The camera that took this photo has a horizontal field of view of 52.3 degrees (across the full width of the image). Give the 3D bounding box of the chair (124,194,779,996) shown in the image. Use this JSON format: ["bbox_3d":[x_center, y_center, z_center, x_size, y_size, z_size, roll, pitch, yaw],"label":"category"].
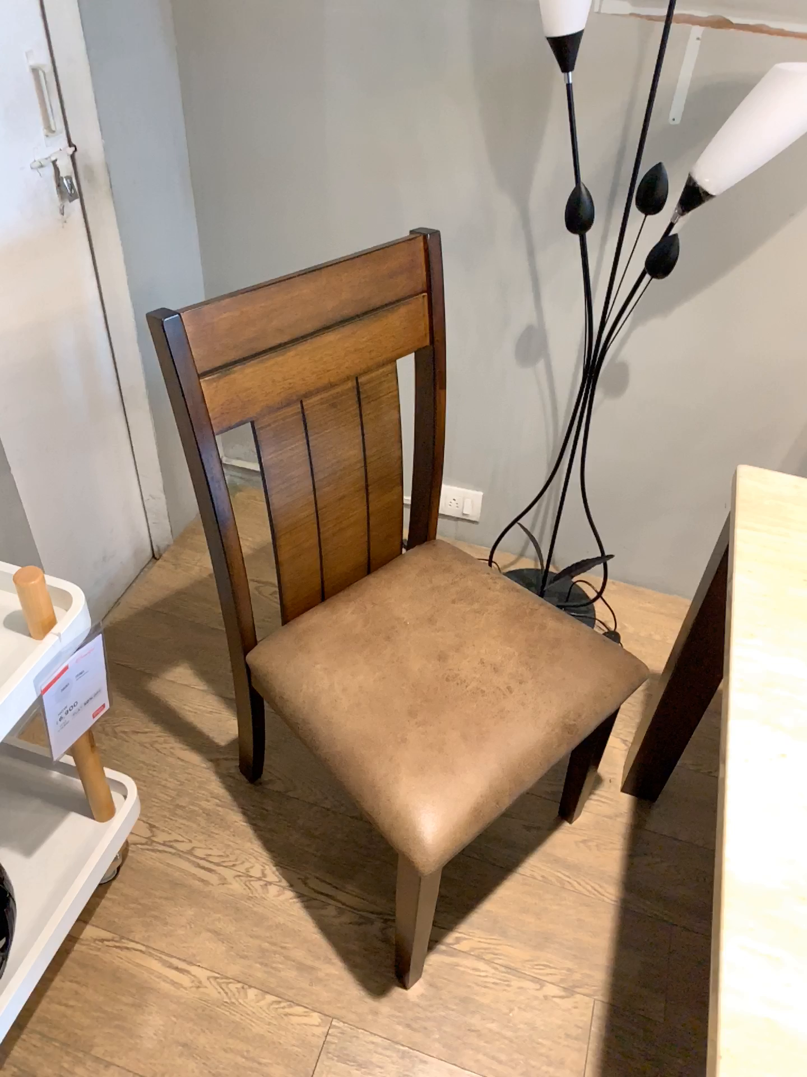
[{"bbox_3d":[0.027,0.112,1.269,0.511,0.996,0.551,-31,52,-33],"label":"chair"}]
